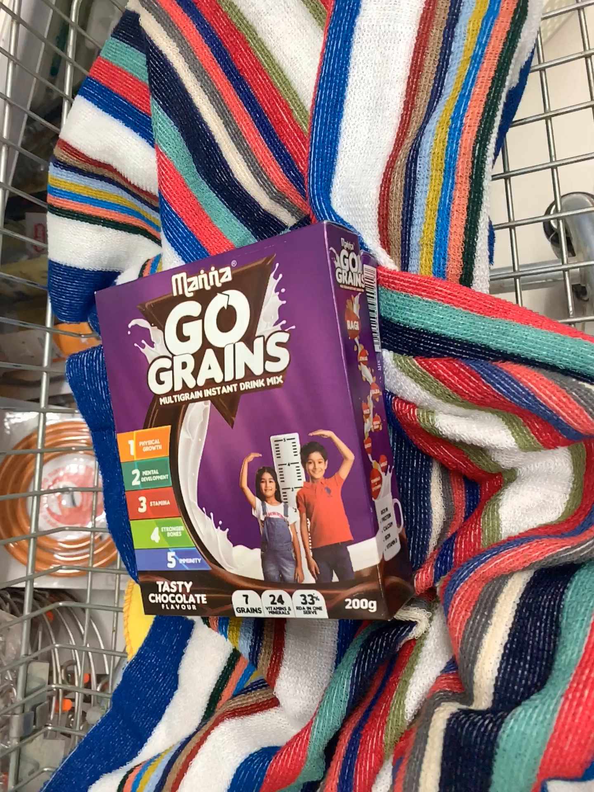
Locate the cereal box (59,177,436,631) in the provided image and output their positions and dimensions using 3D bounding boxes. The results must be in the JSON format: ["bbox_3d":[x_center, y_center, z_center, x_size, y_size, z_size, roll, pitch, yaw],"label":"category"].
[{"bbox_3d":[-0.025,0.011,0.279,0.141,0.050,0.170,-9,91,26],"label":"cereal box"}]
